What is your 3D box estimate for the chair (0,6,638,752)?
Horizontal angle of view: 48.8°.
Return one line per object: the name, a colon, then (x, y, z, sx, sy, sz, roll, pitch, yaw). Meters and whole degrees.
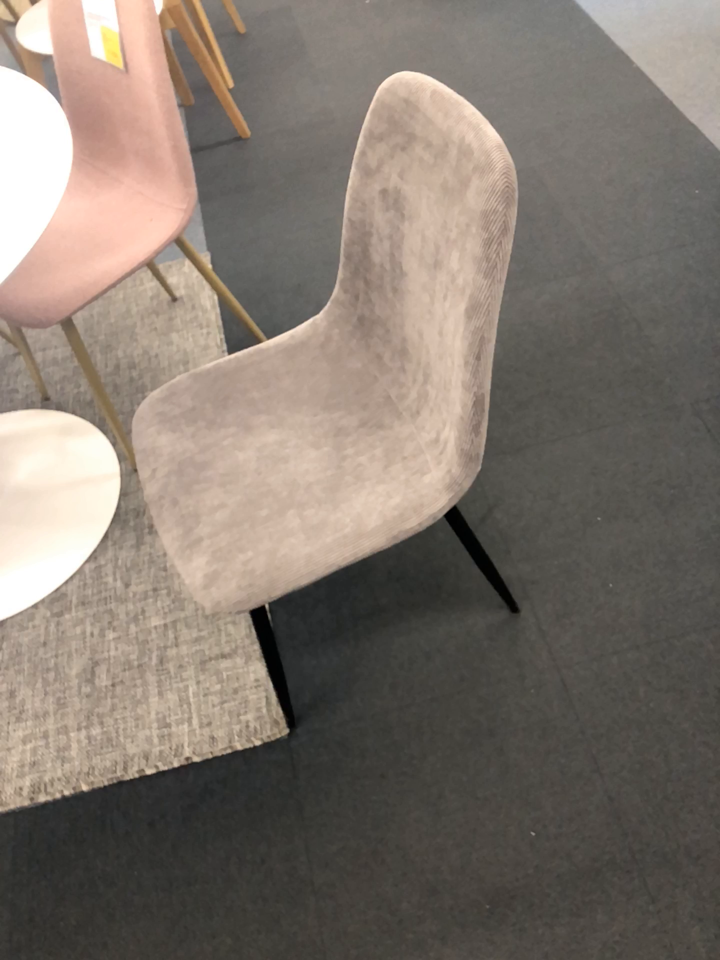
chair: (-0.057, -0.103, 1.211, 0.580, 0.807, 0.582, -23, 53, -8)
